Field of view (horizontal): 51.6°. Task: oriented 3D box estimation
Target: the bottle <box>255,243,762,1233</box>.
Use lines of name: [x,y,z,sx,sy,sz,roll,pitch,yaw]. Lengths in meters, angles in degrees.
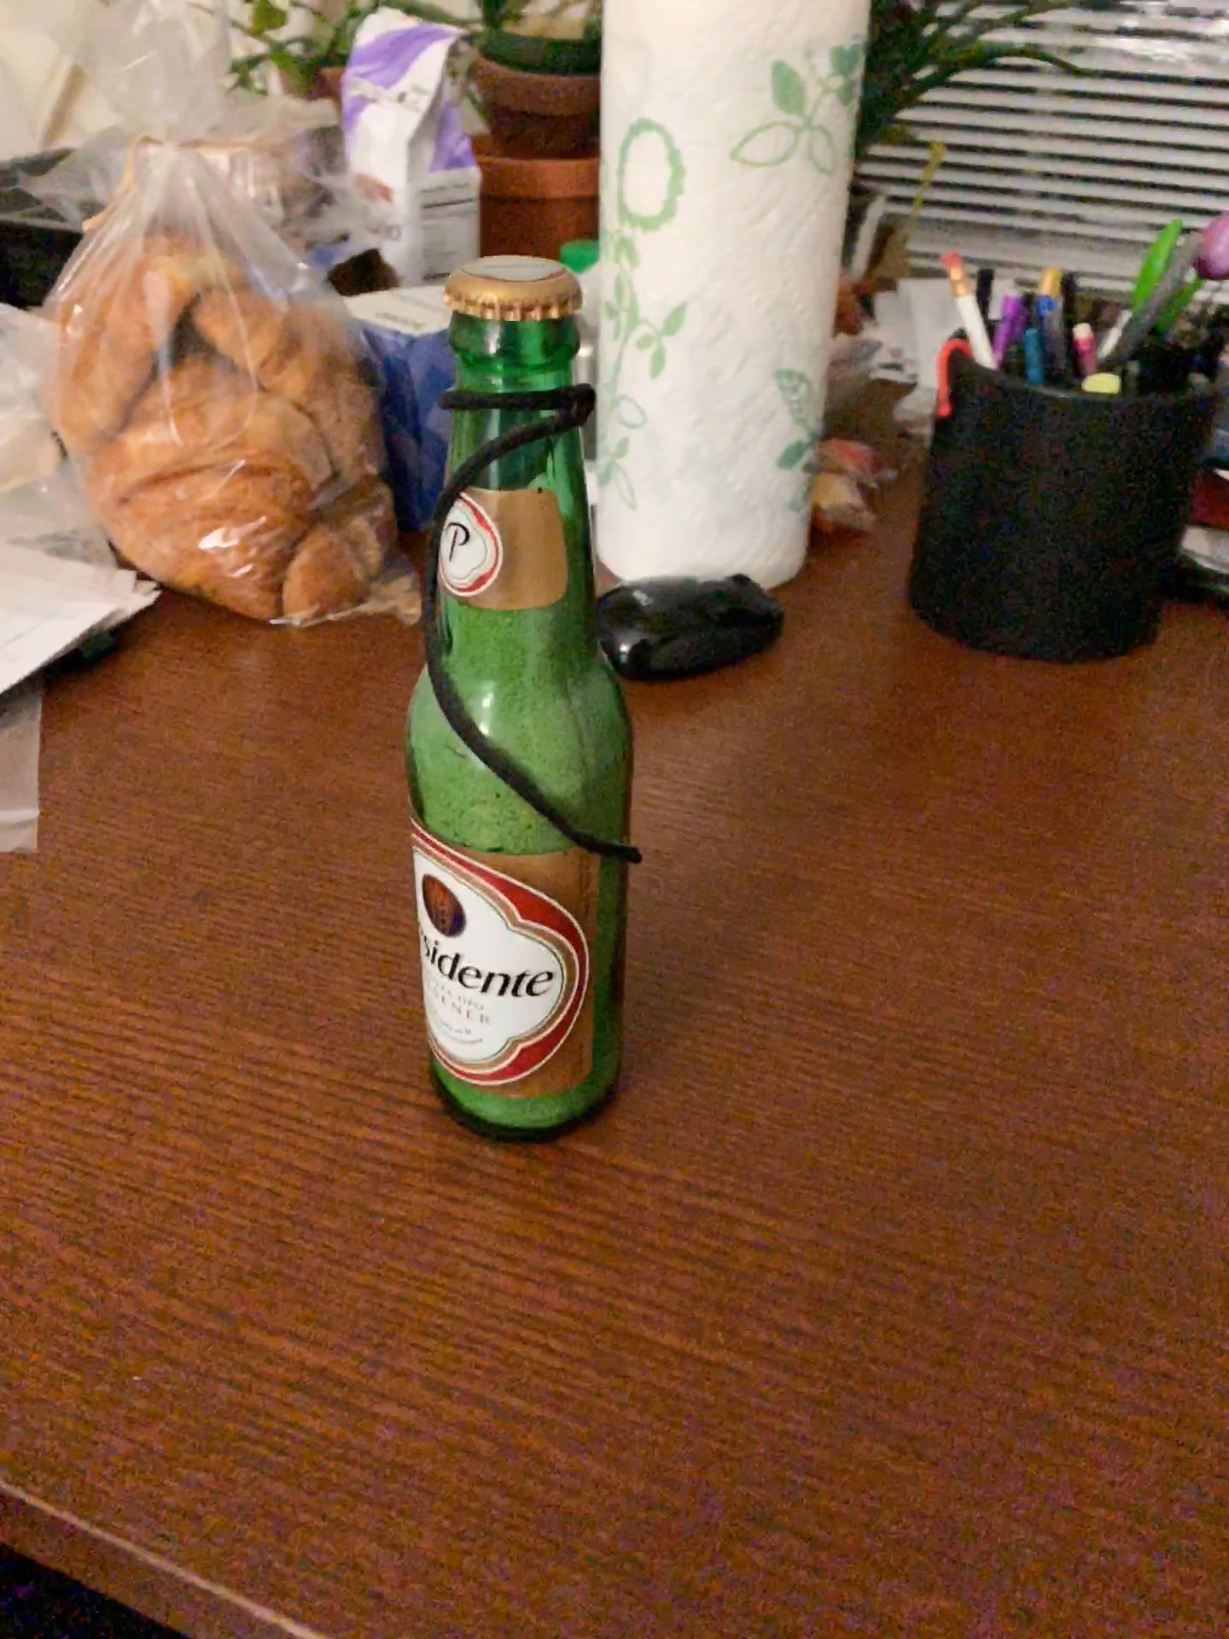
bottle: [-0.026,-0.011,0.334,0.070,0.239,0.080,-28,45,-35]
